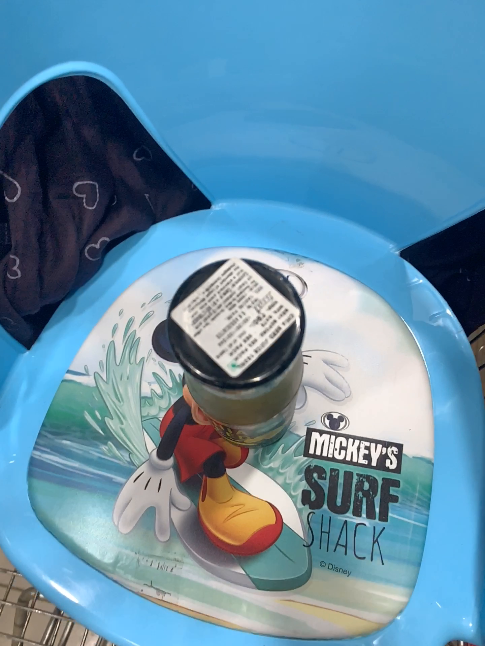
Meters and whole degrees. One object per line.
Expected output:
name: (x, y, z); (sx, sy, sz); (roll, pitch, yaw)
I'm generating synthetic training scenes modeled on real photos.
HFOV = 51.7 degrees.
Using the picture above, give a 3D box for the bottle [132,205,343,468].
bottle: (0.002, 0.019, 0.214); (0.050, 0.140, 0.050); (-1, 66, 2)
